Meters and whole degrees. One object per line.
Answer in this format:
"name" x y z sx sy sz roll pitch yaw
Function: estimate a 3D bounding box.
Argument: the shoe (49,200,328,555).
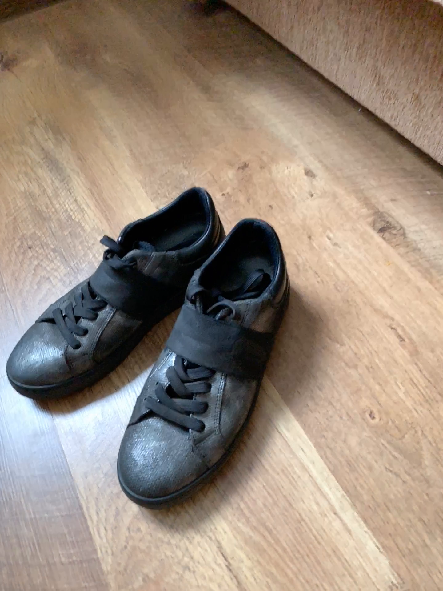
"shoe" -0.007 0.053 0.379 0.100 0.090 0.261 20 61 19

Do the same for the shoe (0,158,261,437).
"shoe" -0.094 -0.006 0.426 0.260 0.090 0.100 -38 60 -17
